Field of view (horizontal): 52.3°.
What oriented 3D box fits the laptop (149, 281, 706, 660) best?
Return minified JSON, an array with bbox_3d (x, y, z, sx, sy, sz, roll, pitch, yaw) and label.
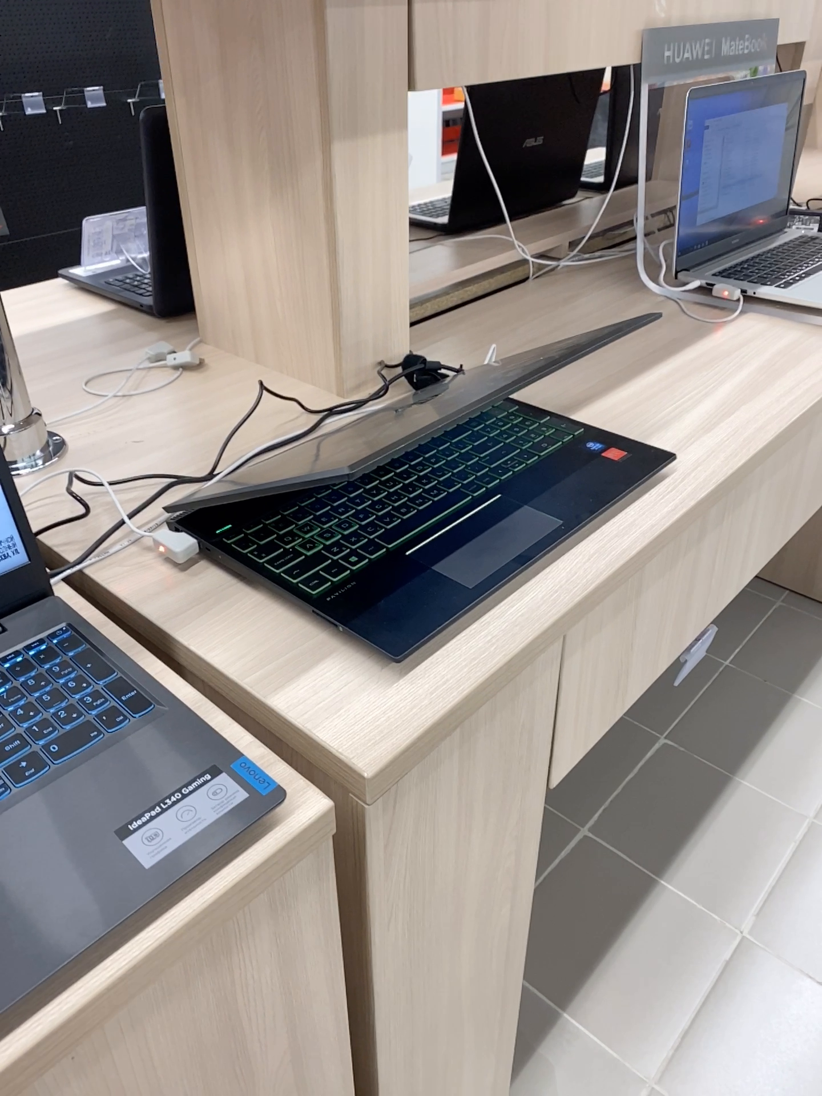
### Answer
[{"bbox_3d":[0.029,-0.095,0.659,0.235,0.108,0.365,27,41,34],"label":"laptop"}]
